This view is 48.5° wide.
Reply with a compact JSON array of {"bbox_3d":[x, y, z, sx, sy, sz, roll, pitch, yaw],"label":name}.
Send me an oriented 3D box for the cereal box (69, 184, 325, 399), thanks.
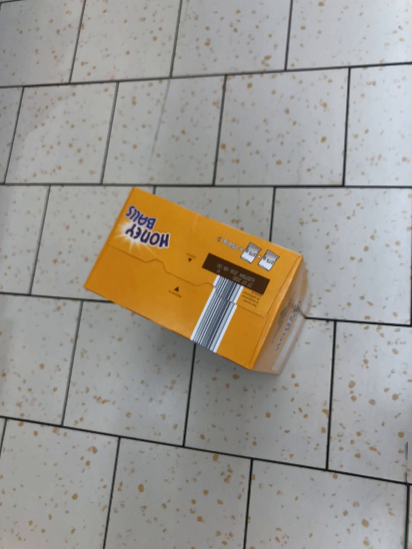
[{"bbox_3d":[0.016,0.035,0.550,0.210,0.260,0.130,24,85,19],"label":"cereal box"}]
